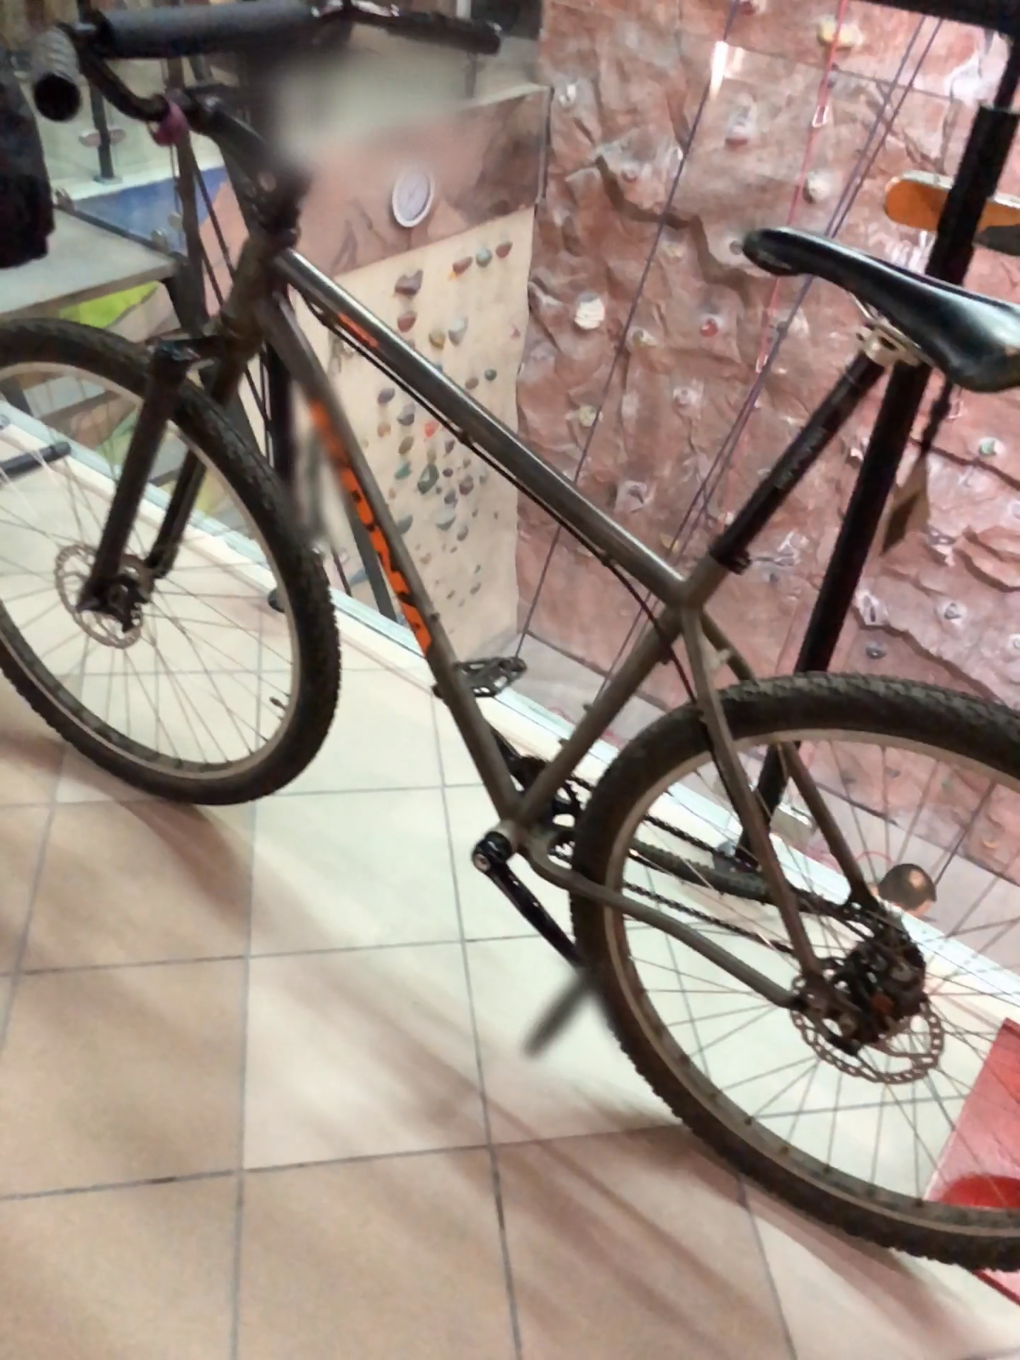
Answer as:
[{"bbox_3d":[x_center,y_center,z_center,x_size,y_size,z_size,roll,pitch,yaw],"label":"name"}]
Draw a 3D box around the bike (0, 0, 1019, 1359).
[{"bbox_3d":[-0.020,-0.122,1.247,1.823,1.099,0.752,27,44,20],"label":"bike"}]
